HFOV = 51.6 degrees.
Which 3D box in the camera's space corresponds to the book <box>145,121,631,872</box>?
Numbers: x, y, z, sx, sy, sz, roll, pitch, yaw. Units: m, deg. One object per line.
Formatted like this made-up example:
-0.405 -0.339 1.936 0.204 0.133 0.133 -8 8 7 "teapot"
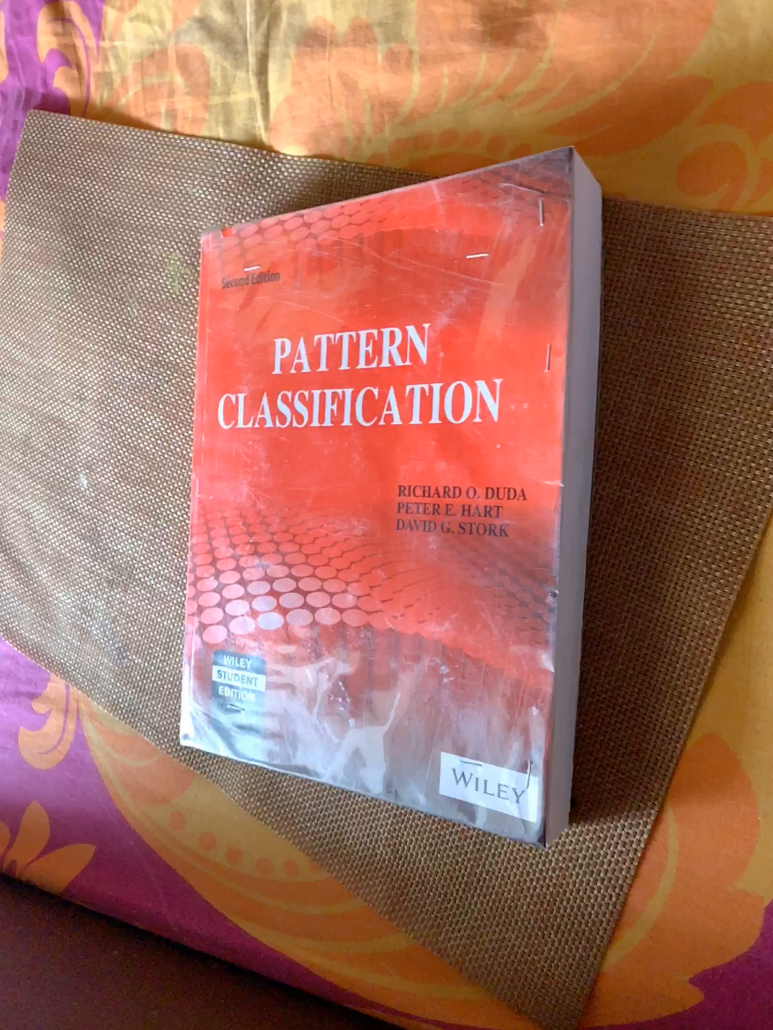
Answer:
-0.009 -0.010 0.309 0.181 0.040 0.230 3 90 32 "book"
